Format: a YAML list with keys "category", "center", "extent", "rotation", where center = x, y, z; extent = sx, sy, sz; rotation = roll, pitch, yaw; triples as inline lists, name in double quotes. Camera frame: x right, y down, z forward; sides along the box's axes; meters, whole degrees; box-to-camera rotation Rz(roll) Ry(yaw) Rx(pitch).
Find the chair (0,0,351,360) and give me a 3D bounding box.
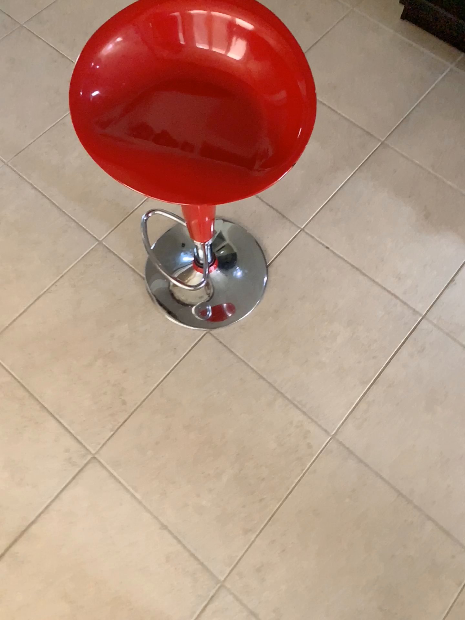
- category: "chair"
  center: [-0.085, -0.253, 1.099]
  extent: [0.437, 0.730, 0.433]
  rotation: [21, 70, 7]
